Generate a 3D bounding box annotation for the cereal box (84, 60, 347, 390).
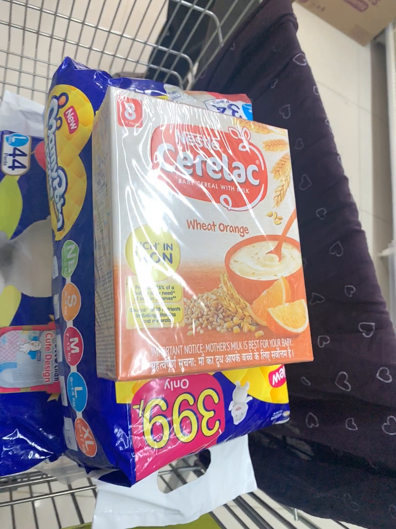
[{"bbox_3d":[0.013,-0.022,0.288,0.171,0.050,0.190,2,78,-27],"label":"cereal box"}]
